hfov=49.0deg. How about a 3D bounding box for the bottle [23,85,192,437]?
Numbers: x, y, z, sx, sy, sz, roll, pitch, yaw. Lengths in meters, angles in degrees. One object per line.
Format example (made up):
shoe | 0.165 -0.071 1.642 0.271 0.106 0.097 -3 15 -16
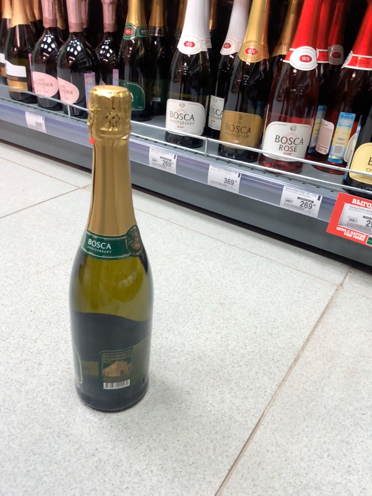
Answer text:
bottle | -0.070 0.022 0.388 0.090 0.314 0.090 4 29 -2
